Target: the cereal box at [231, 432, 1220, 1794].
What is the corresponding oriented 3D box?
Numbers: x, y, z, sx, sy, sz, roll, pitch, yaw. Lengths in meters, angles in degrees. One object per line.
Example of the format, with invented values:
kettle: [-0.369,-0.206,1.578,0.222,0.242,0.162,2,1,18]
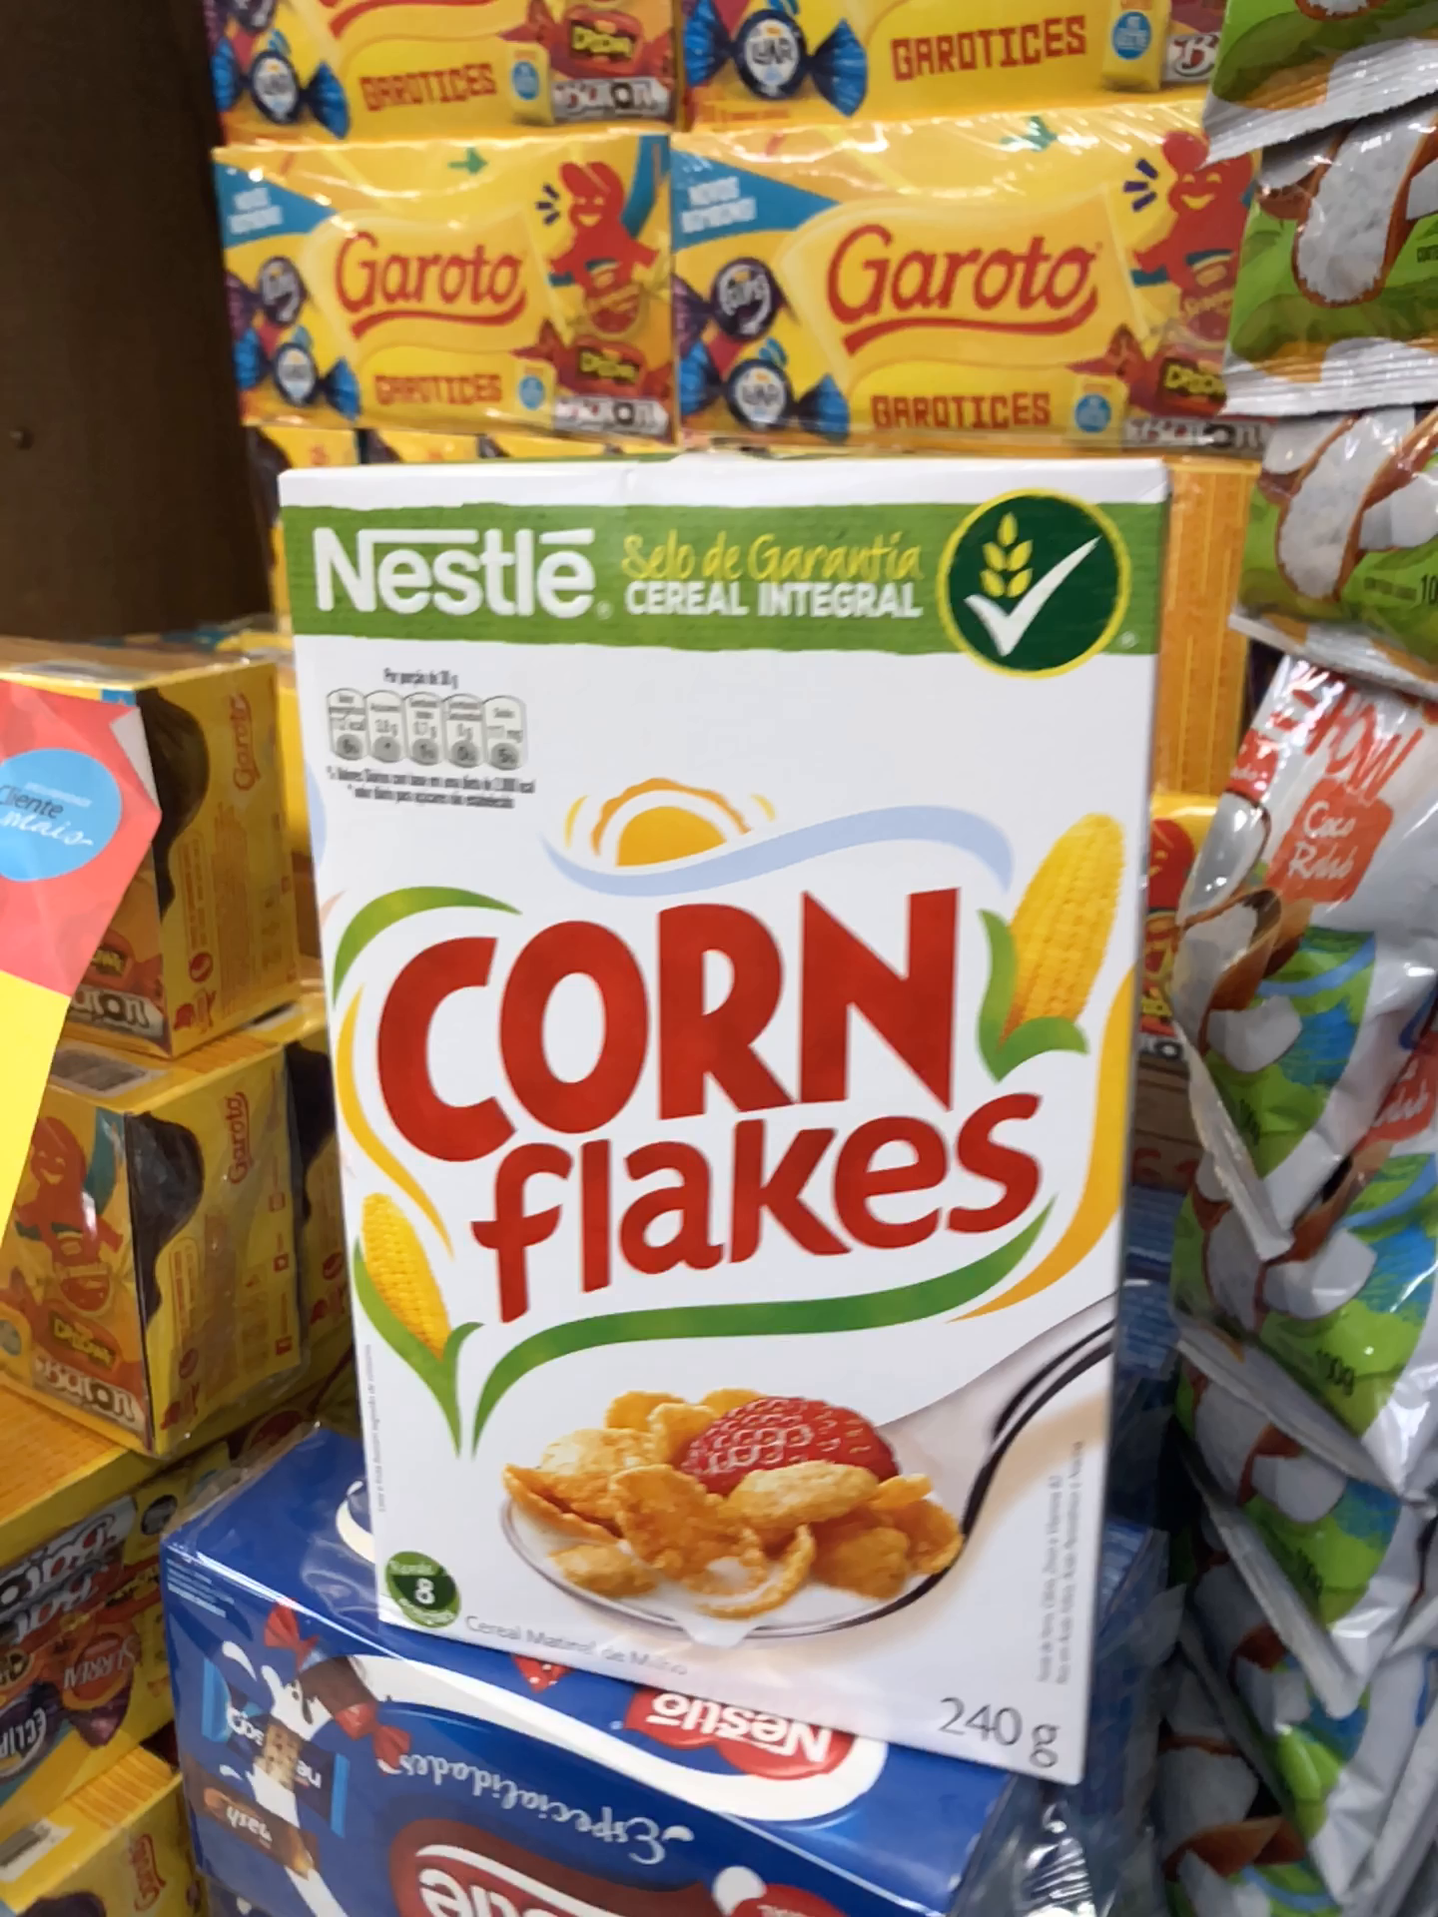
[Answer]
cereal box: [0.001,0.025,0.325,0.170,0.249,0.060,6,17,16]
